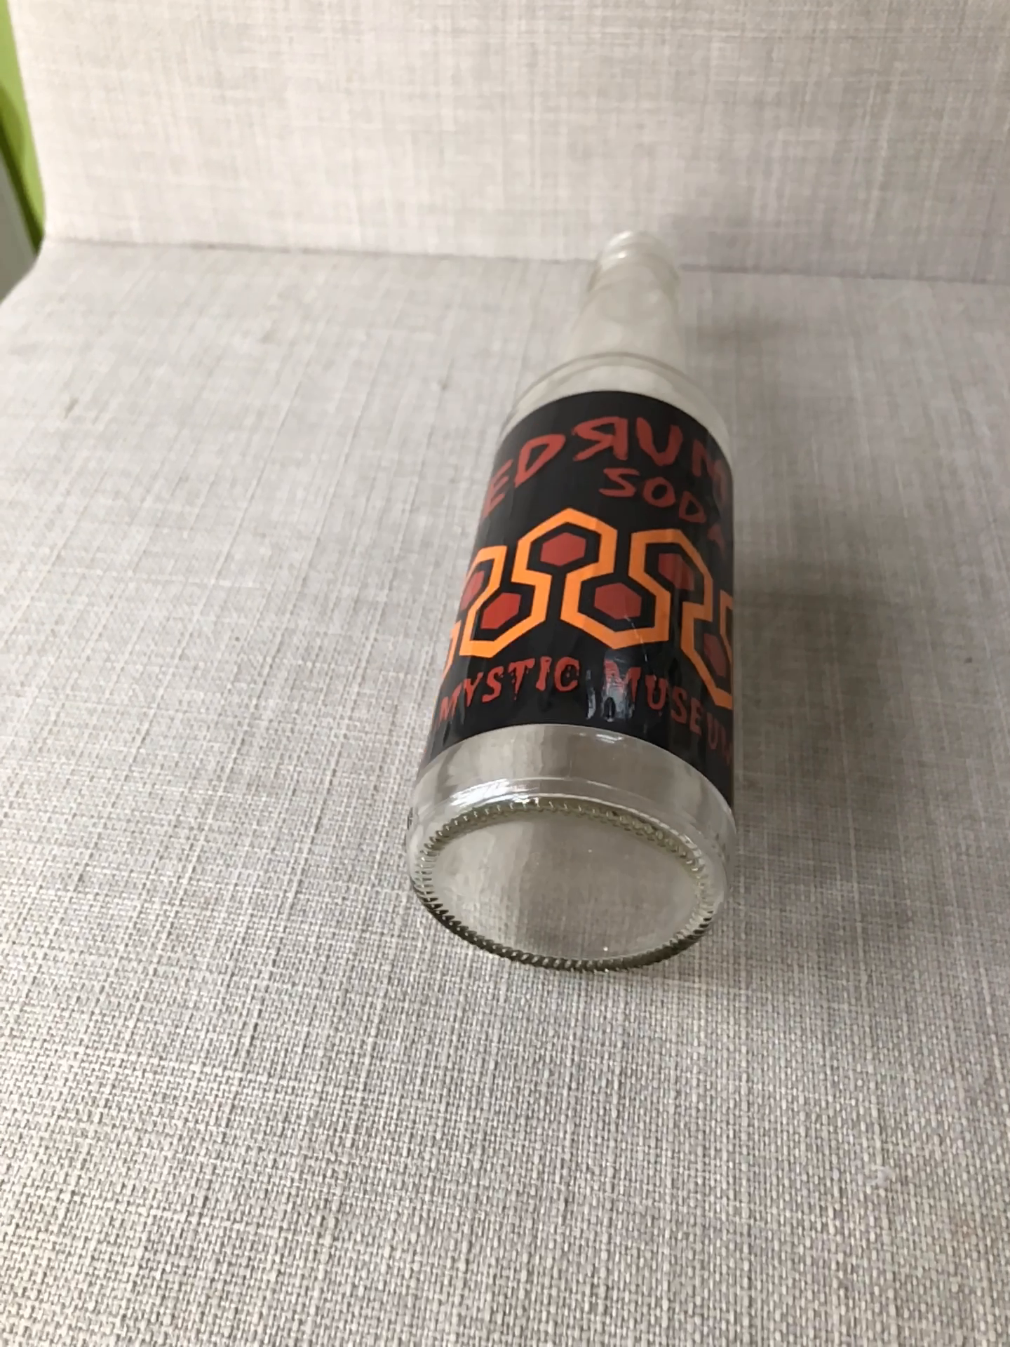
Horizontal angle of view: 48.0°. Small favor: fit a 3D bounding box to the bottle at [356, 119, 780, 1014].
[{"bbox_3d":[0.026,-0.046,0.269,0.062,0.069,0.232,3,48,8],"label":"bottle"}]
